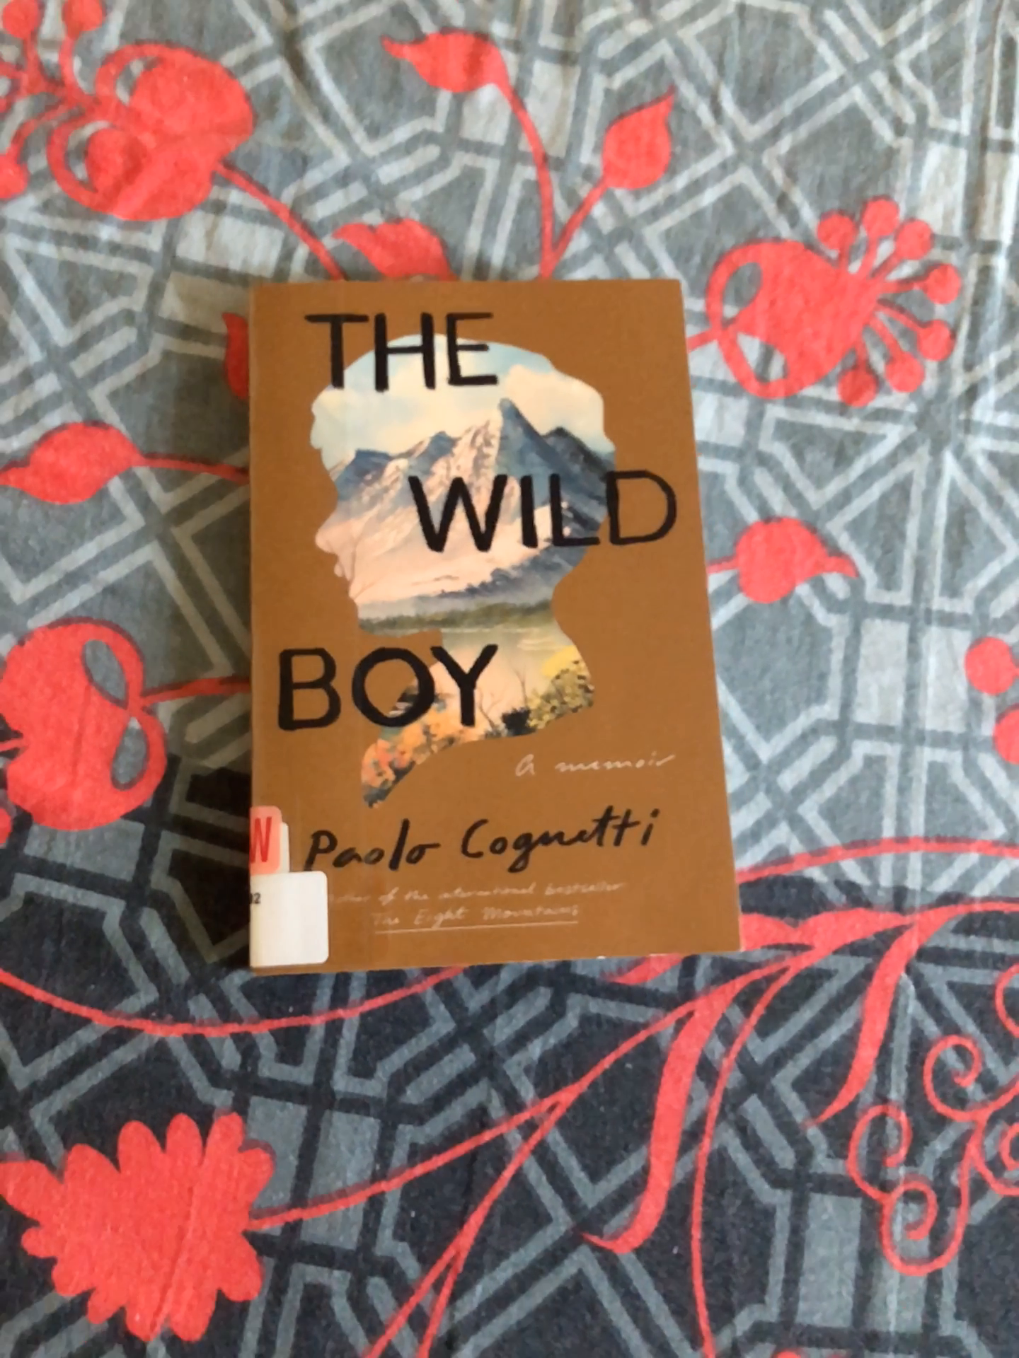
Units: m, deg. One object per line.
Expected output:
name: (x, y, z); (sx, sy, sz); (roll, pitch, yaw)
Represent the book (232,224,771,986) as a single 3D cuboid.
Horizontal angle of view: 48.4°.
book: (-0.008, -0.028, 0.354); (0.150, 0.030, 0.230); (-2, 78, -2)
